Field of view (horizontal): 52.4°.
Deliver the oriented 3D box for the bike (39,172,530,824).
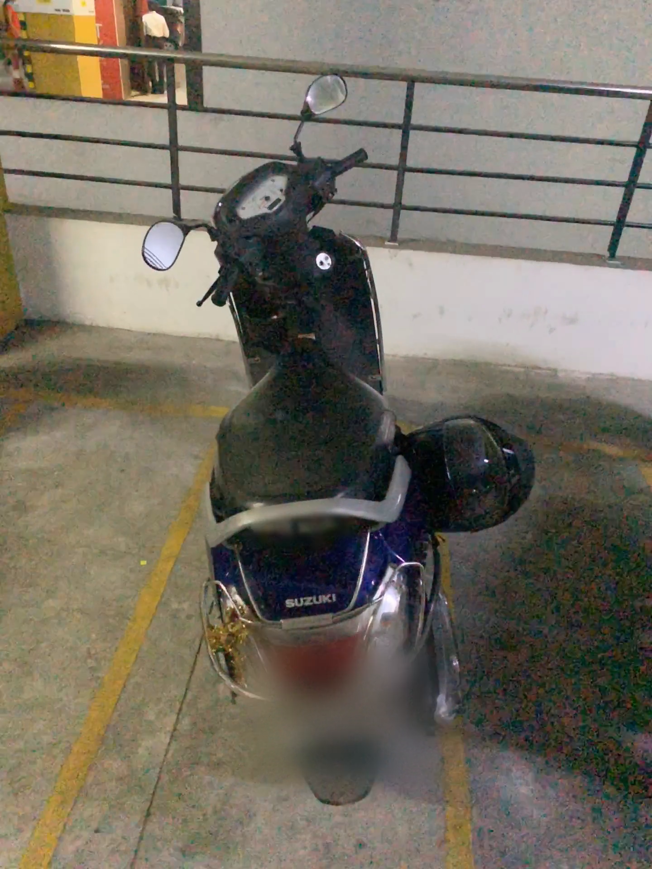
[{"bbox_3d":[-0.171,-0.001,1.794,0.622,1.157,1.482,0,29,-8],"label":"bike"}]
